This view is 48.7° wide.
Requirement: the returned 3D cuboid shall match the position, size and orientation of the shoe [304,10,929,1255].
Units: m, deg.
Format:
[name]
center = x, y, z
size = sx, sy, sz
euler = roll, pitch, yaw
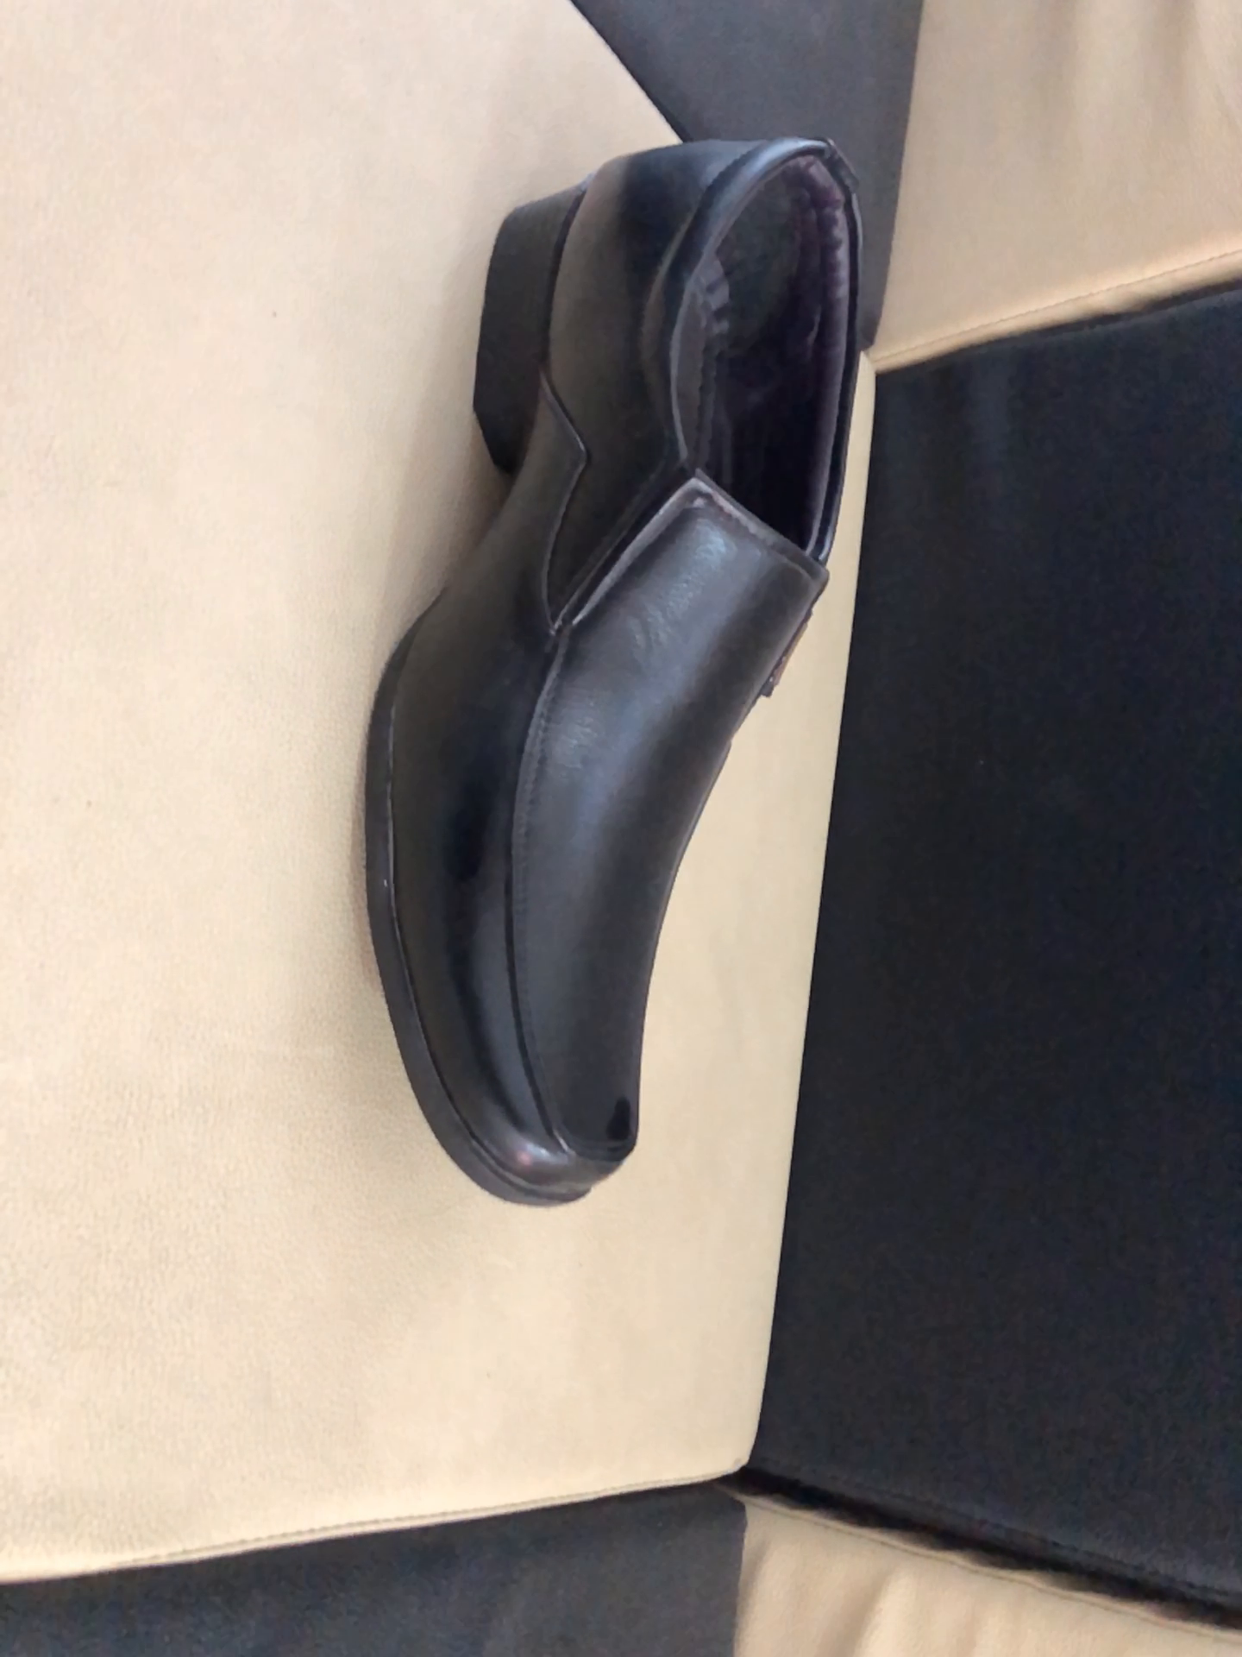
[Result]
[shoe]
center = 0.009, -0.044, 0.365
size = 0.101, 0.089, 0.290
euler = 24, 68, -49
